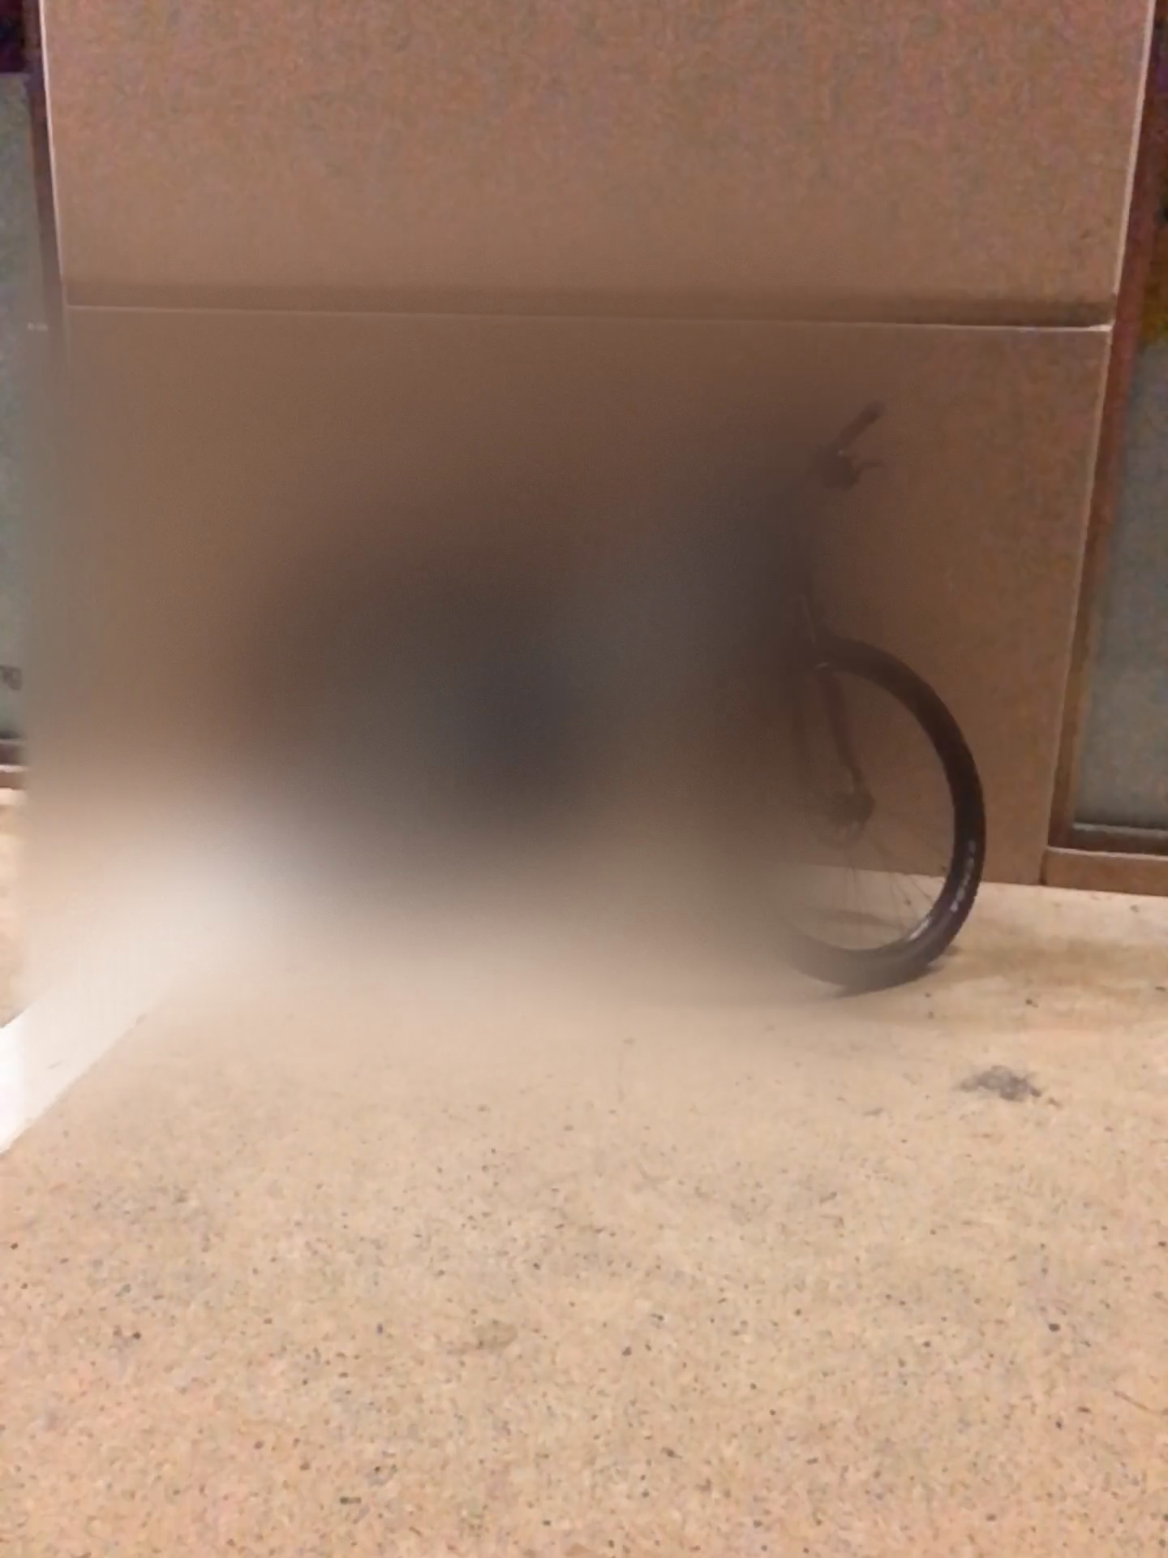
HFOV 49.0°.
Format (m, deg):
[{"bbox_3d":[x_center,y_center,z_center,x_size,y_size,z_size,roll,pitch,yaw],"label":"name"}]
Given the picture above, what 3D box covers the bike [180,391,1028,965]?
[{"bbox_3d":[0.064,-0.280,2.808,1.602,1.063,0.589,5,16,12],"label":"bike"}]
